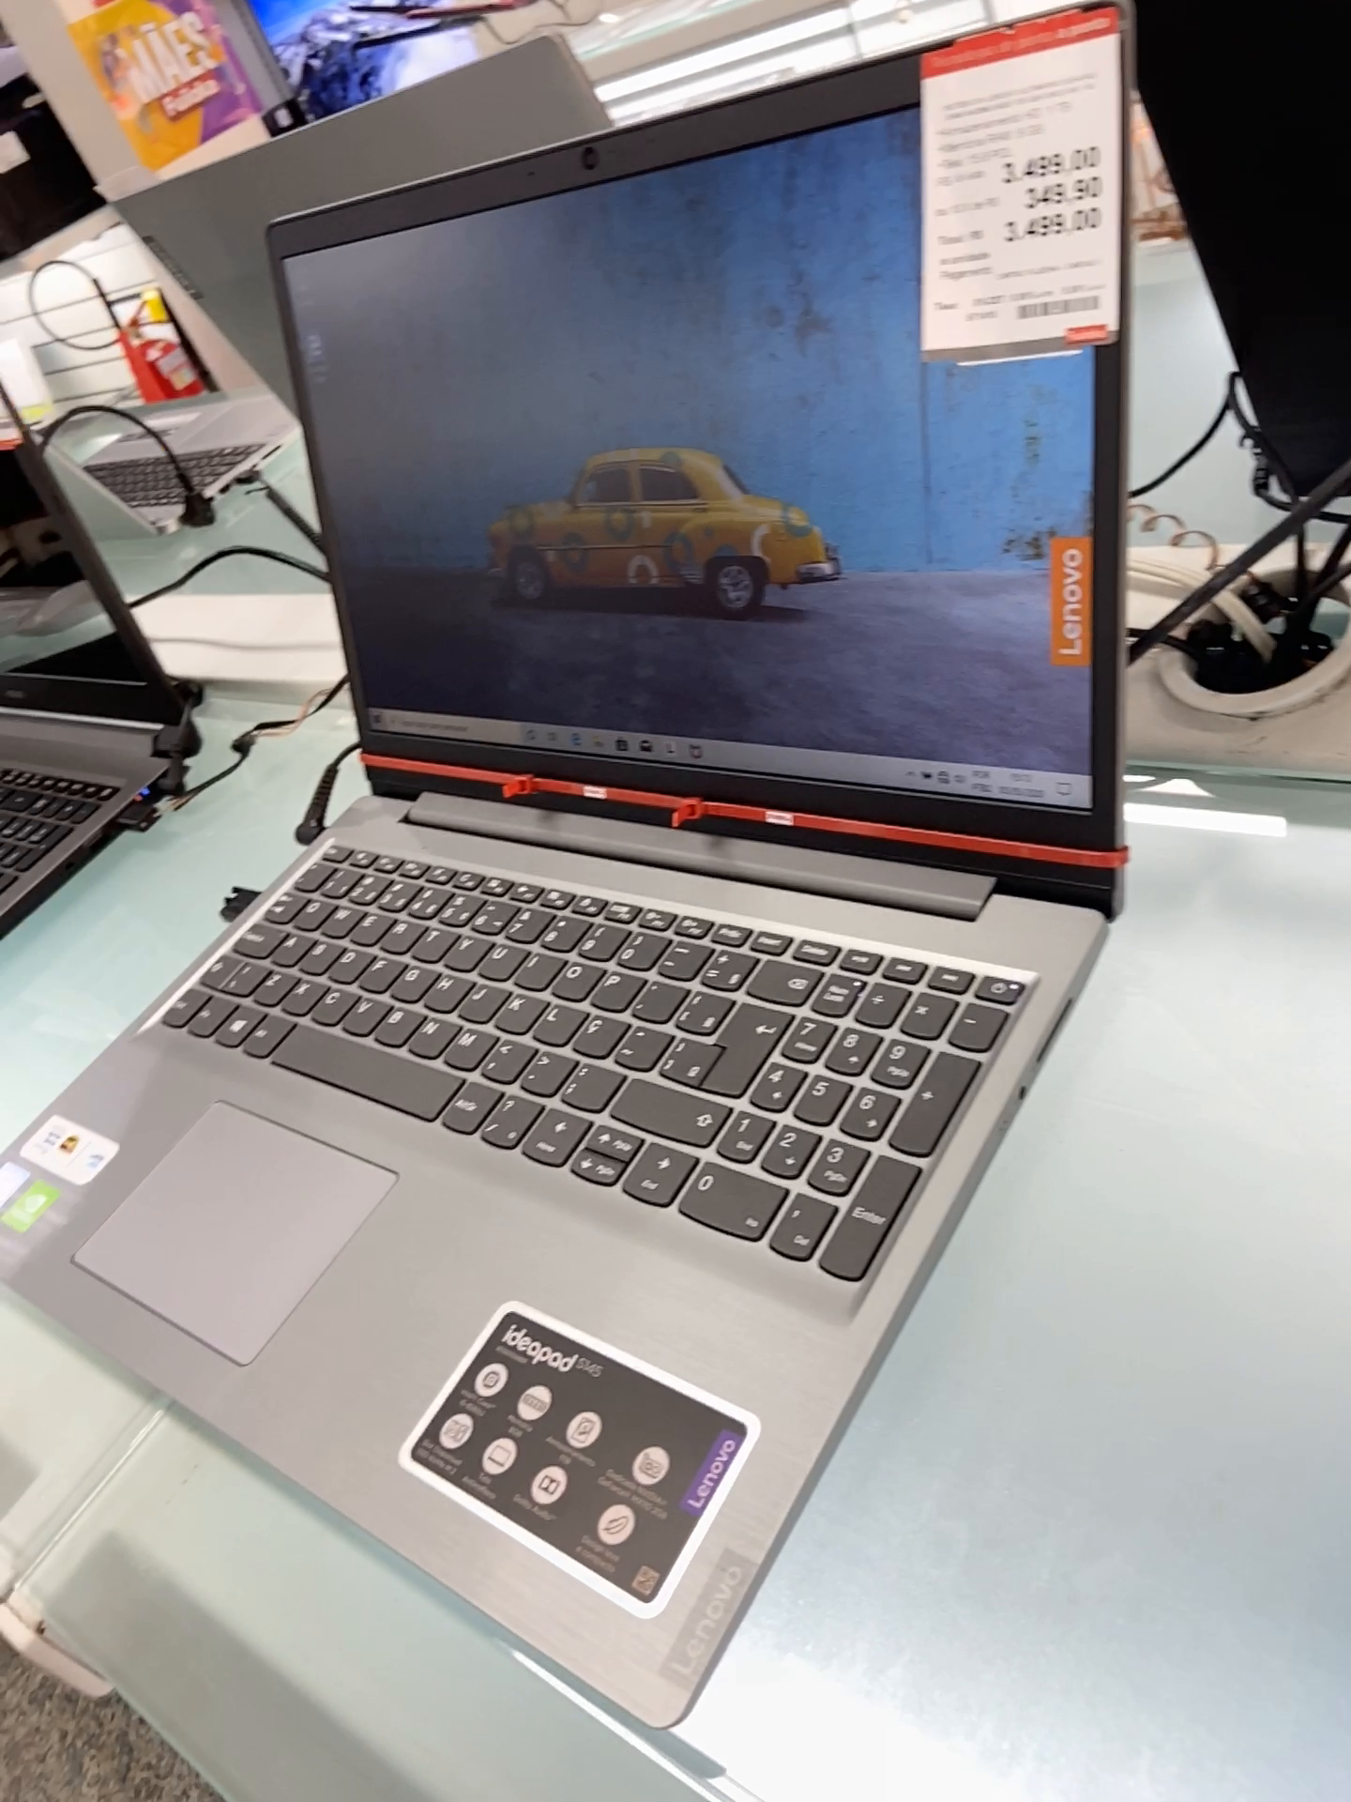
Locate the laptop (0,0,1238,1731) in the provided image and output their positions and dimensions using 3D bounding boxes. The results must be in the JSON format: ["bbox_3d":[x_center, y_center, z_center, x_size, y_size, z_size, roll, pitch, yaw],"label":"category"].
[{"bbox_3d":[-0.086,-0.051,0.431,0.365,0.214,0.352,10,50,40],"label":"laptop"}]
